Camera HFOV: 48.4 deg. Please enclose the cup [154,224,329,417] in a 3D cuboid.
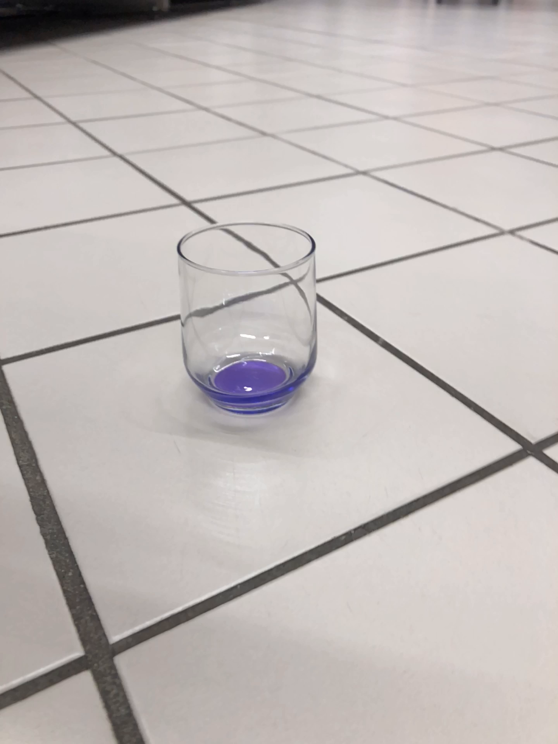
[{"bbox_3d":[-0.013,-0.026,0.294,0.070,0.063,0.070,0,33,0],"label":"cup"}]
